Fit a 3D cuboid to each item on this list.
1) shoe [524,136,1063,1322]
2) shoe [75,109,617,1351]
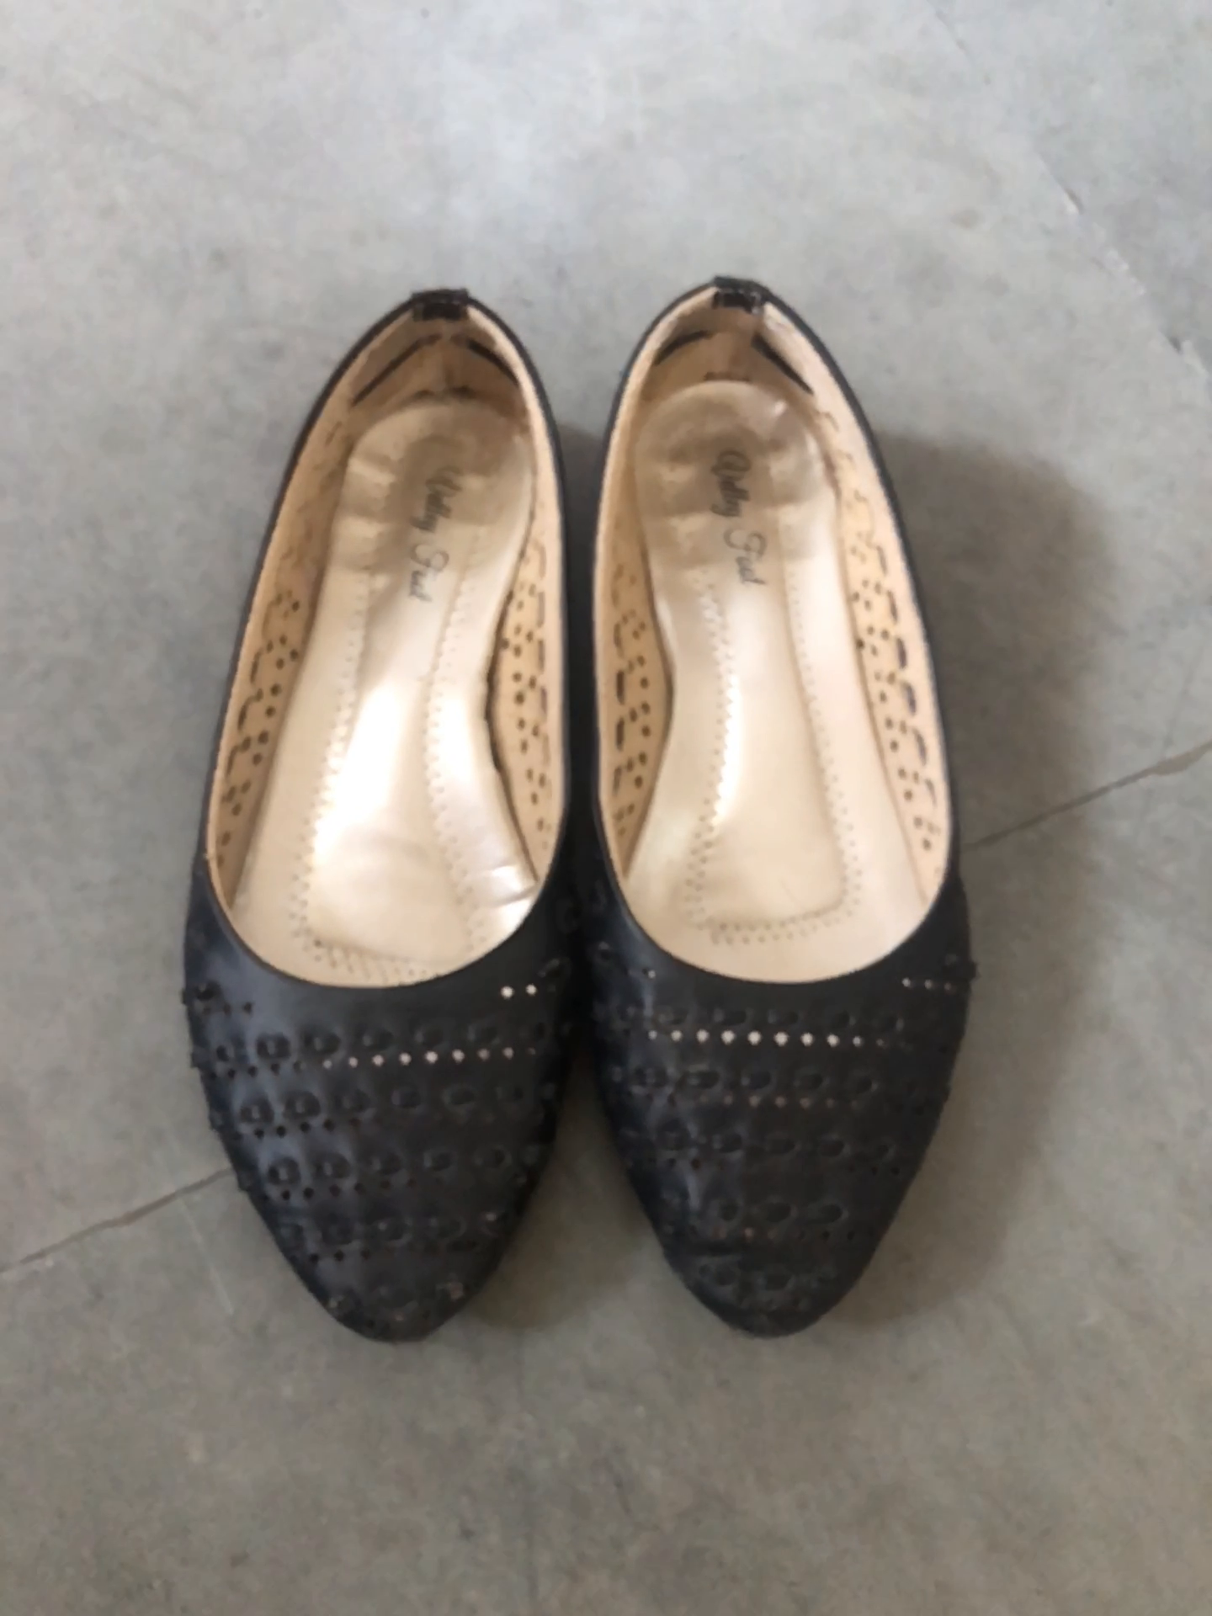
[{"bbox_3d":[0.034,-0.026,0.334,0.100,0.070,0.280,0,71,0],"label":"shoe"},{"bbox_3d":[-0.049,-0.023,0.320,0.100,0.070,0.270,0,76,0],"label":"shoe"}]
